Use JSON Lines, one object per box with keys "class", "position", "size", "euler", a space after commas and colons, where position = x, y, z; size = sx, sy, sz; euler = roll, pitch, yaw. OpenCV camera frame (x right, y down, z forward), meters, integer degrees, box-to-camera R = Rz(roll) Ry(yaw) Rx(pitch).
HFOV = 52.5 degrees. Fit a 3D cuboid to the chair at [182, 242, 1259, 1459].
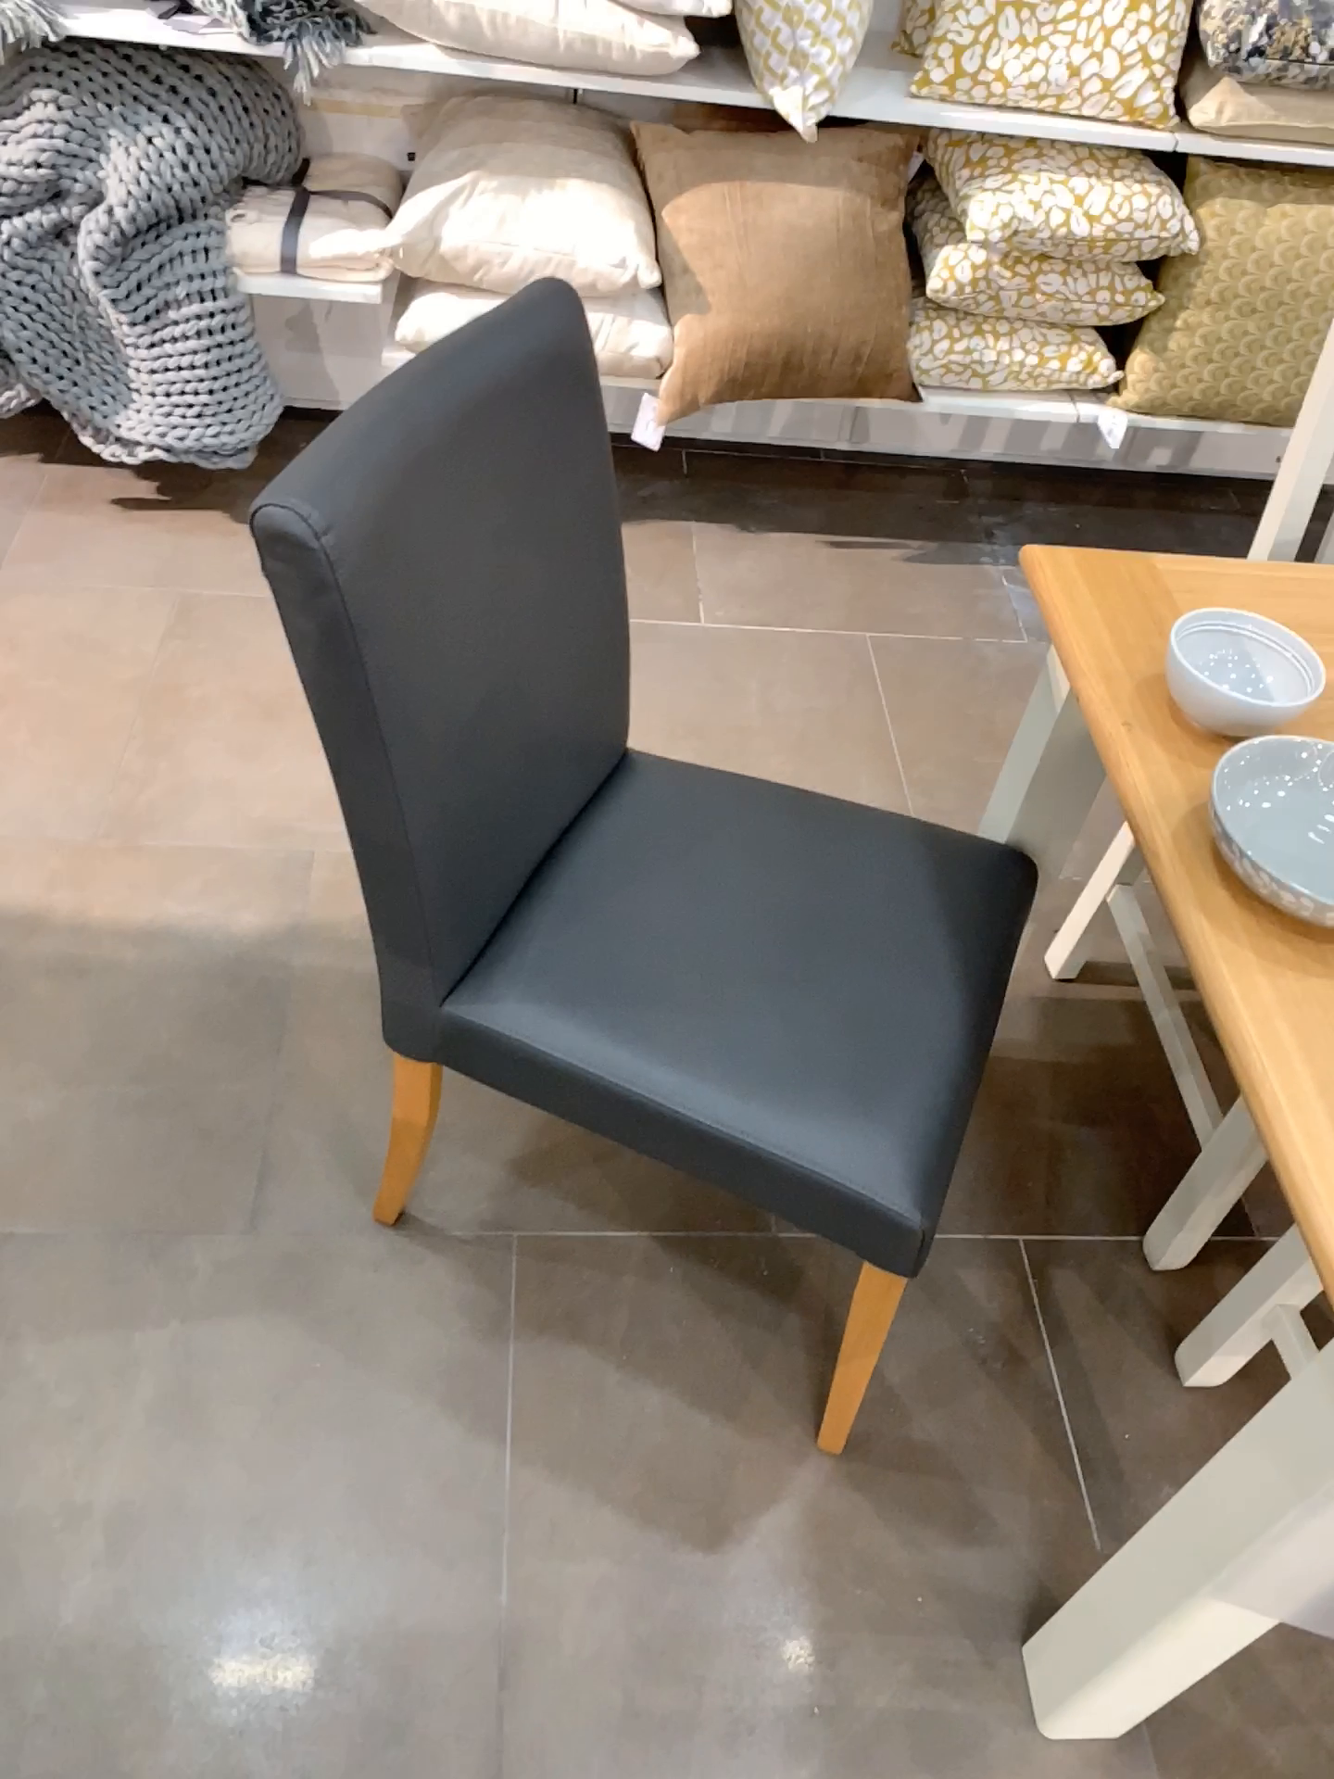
{"class": "chair", "position": [0.027, 0.008, 1.293], "size": [0.650, 0.906, 0.479], "euler": [21, 47, 11]}
